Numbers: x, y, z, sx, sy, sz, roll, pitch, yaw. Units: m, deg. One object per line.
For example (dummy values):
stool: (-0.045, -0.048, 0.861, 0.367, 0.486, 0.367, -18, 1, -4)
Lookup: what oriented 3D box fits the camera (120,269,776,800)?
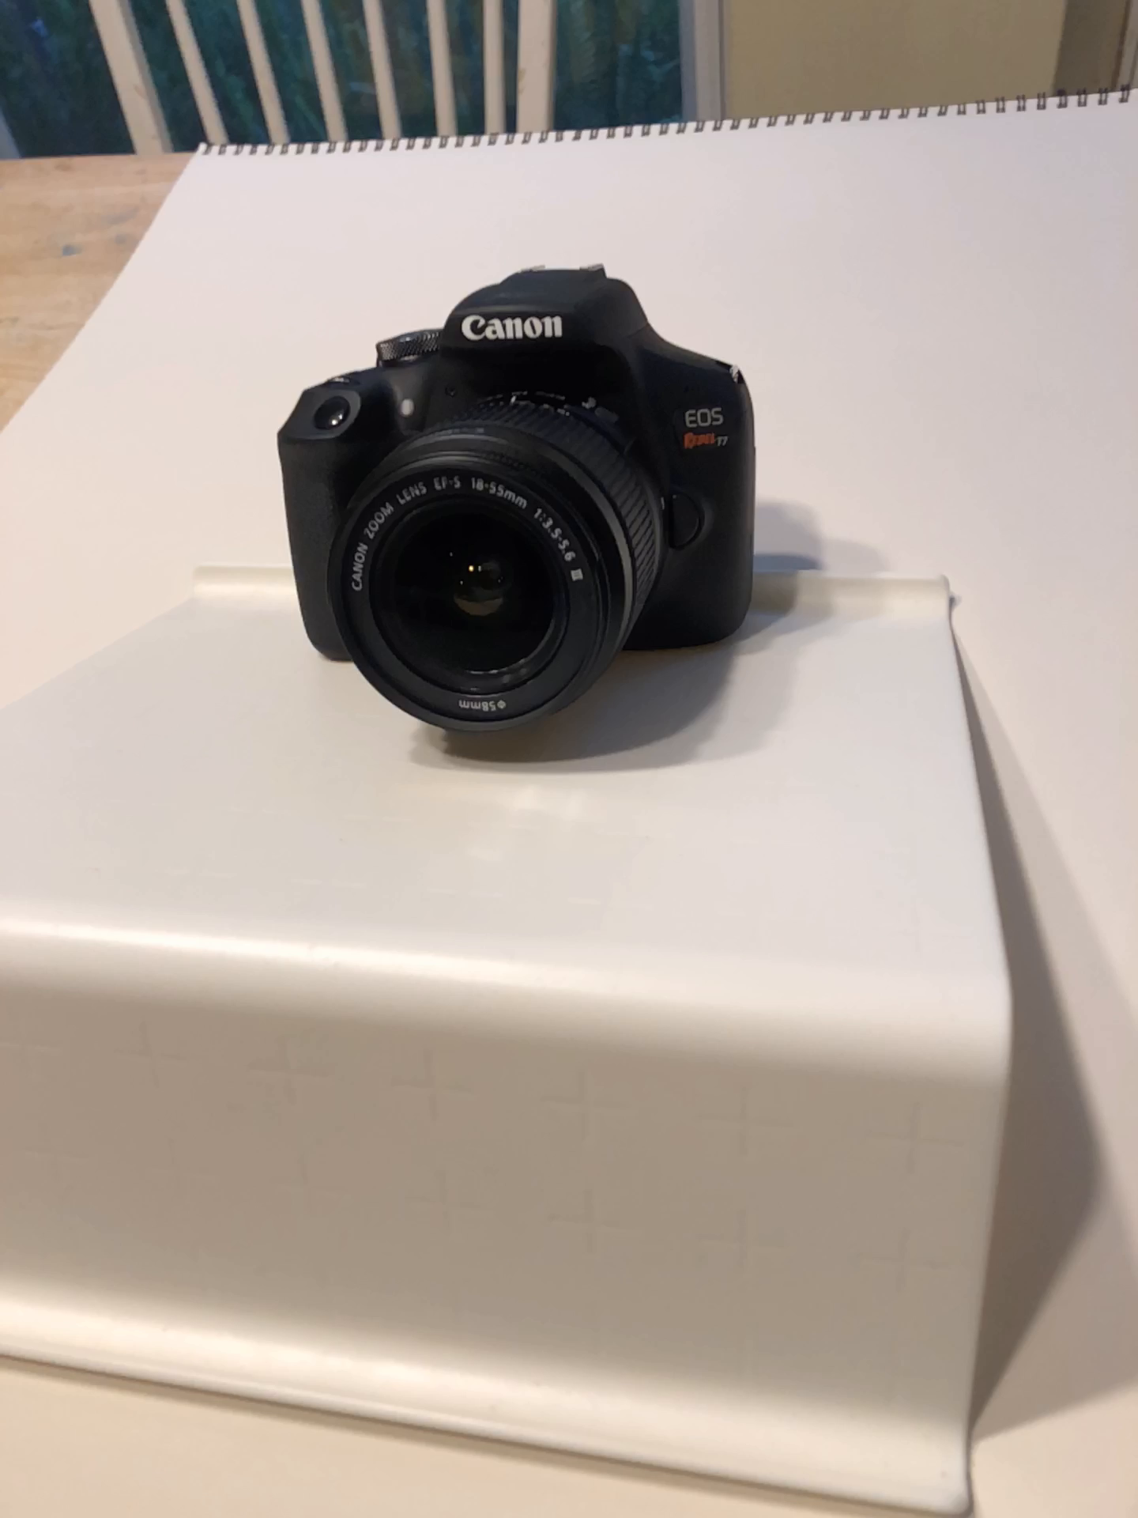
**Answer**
camera: (-0.016, -0.070, 0.331, 0.125, 0.104, 0.141, 4, 23, 12)
